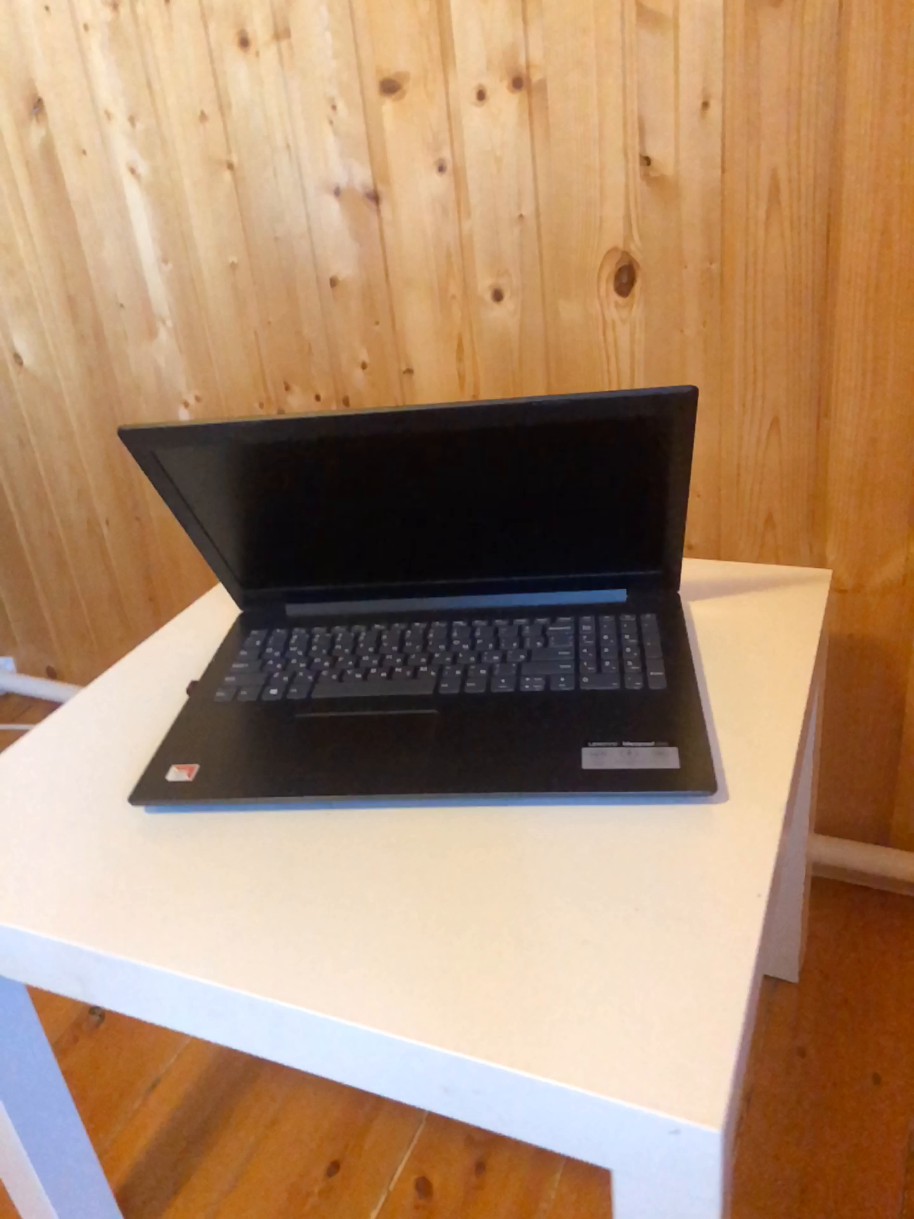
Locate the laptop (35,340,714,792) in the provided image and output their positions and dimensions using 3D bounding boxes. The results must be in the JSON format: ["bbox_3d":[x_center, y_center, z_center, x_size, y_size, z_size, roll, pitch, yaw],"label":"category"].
[{"bbox_3d":[-0.030,-0.038,0.690,0.372,0.206,0.251,-3,27,9],"label":"laptop"}]
